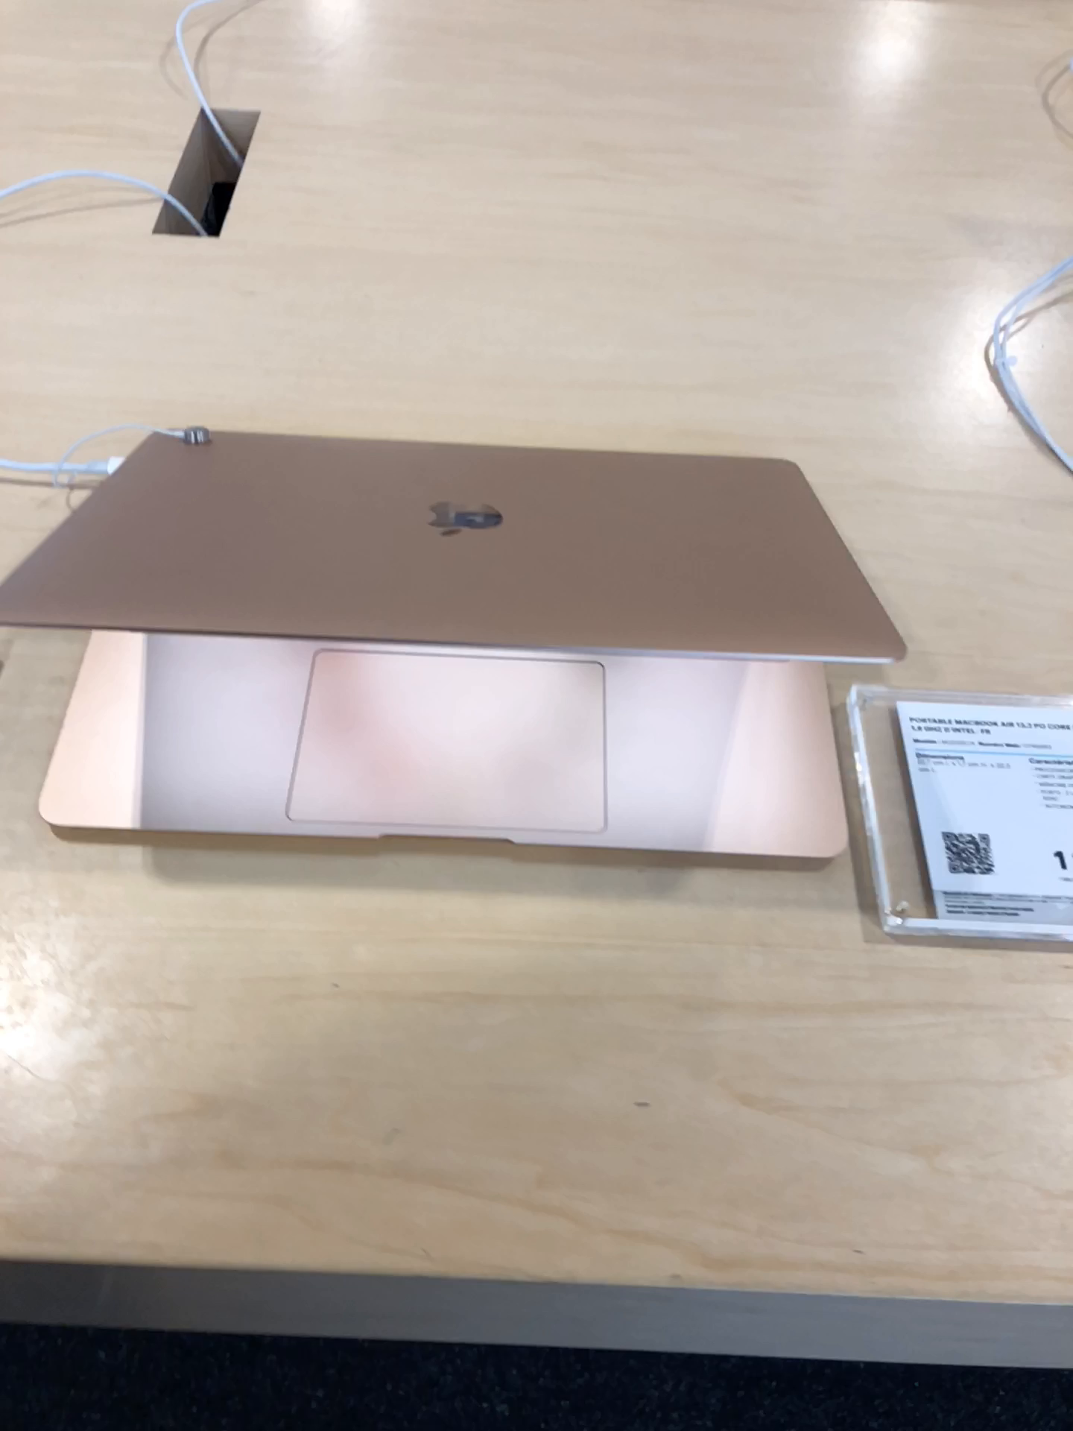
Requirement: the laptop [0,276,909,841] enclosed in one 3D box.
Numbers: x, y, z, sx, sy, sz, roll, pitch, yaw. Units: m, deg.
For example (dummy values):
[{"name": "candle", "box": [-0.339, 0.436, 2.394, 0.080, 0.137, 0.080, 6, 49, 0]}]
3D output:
[{"name": "laptop", "box": [-0.026, -0.066, 0.460, 0.288, 0.093, 0.203, 2, 53, -1]}]
